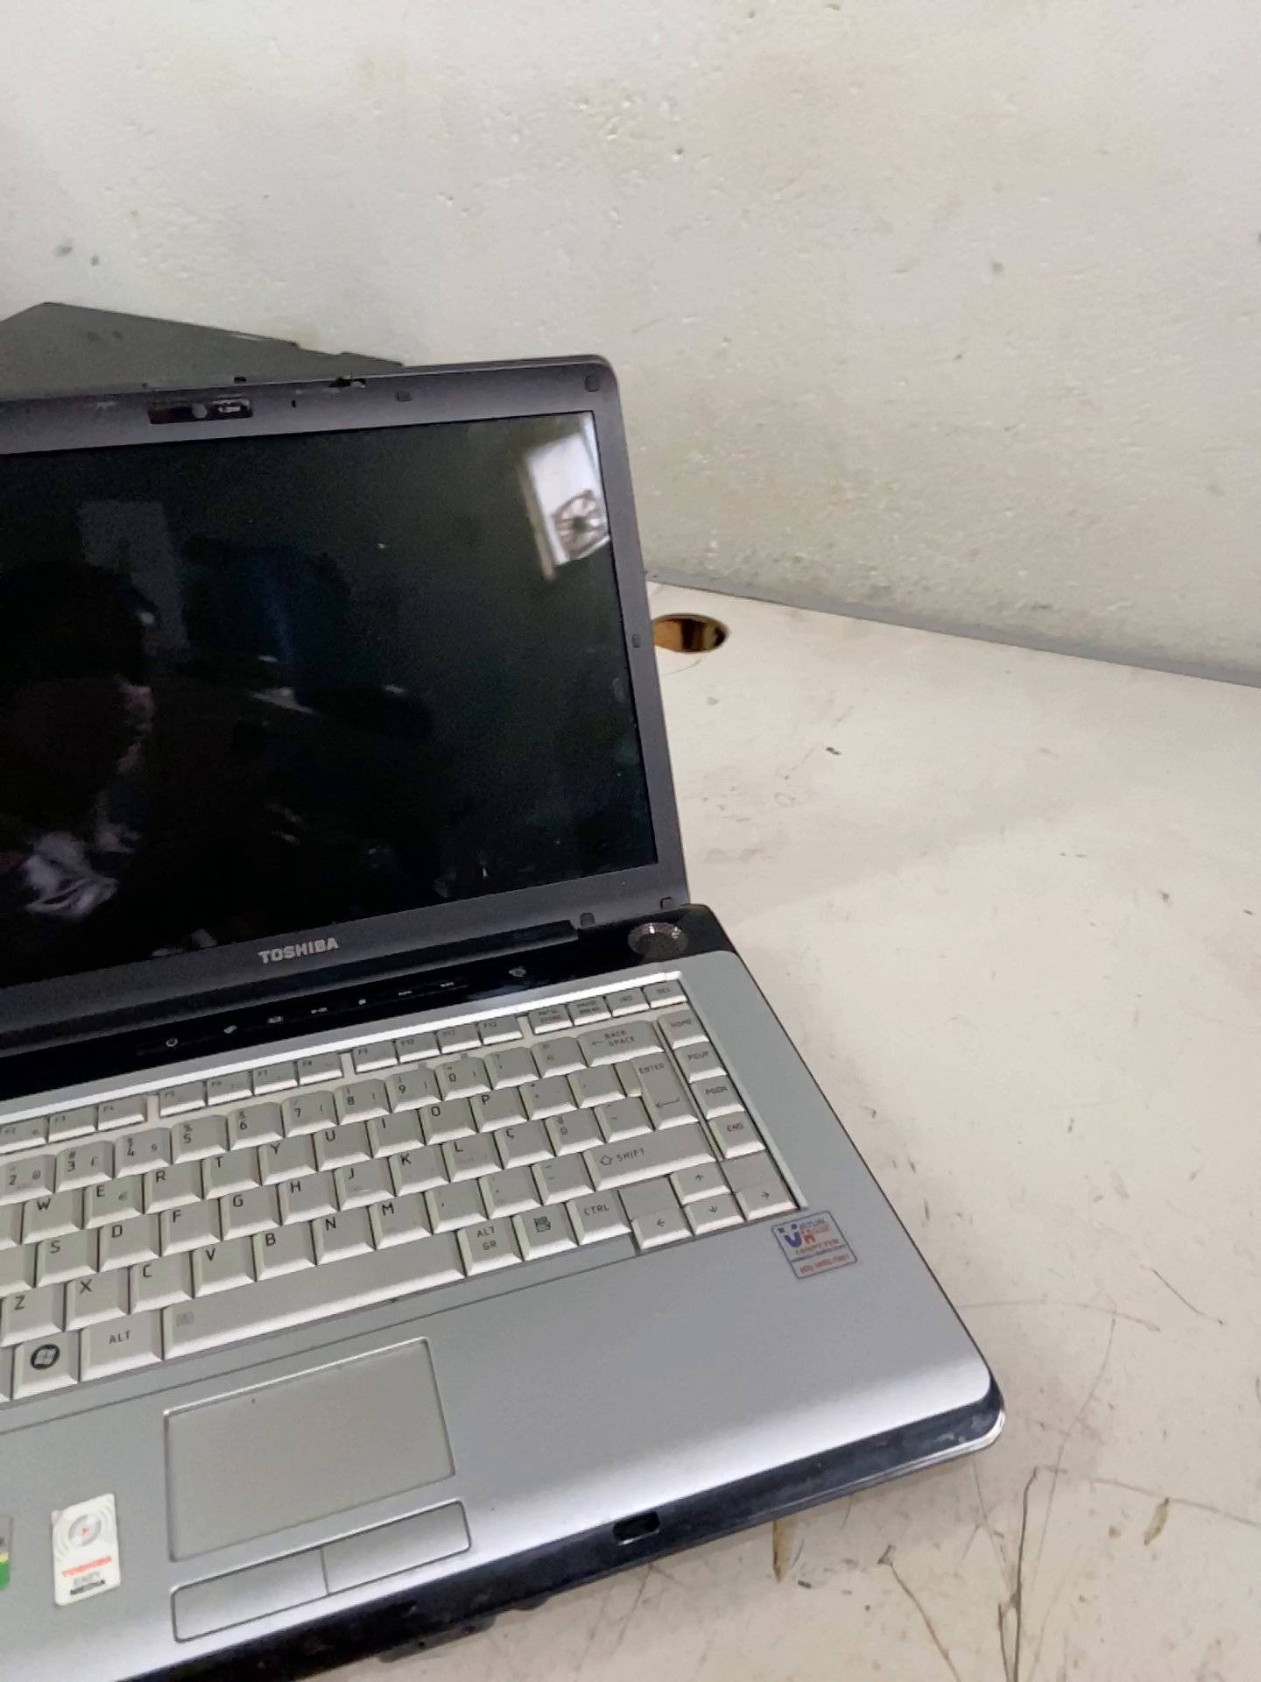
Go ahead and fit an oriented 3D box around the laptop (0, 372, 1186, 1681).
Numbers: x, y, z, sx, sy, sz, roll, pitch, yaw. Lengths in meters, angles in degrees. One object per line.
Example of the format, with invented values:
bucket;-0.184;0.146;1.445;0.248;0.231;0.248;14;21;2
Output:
laptop;-0.116;0.011;0.431;0.351;0.200;0.395;-10;37;-16
